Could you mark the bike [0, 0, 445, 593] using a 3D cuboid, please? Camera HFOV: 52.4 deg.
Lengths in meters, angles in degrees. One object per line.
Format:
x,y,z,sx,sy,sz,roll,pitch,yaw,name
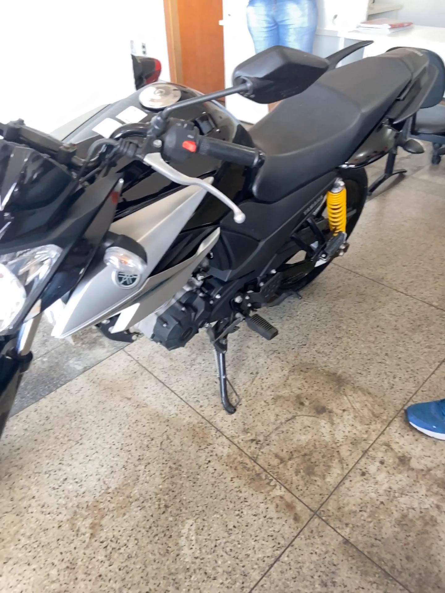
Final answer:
0.088,-0.085,1.185,0.816,1.331,2.011,24,43,32,bike
